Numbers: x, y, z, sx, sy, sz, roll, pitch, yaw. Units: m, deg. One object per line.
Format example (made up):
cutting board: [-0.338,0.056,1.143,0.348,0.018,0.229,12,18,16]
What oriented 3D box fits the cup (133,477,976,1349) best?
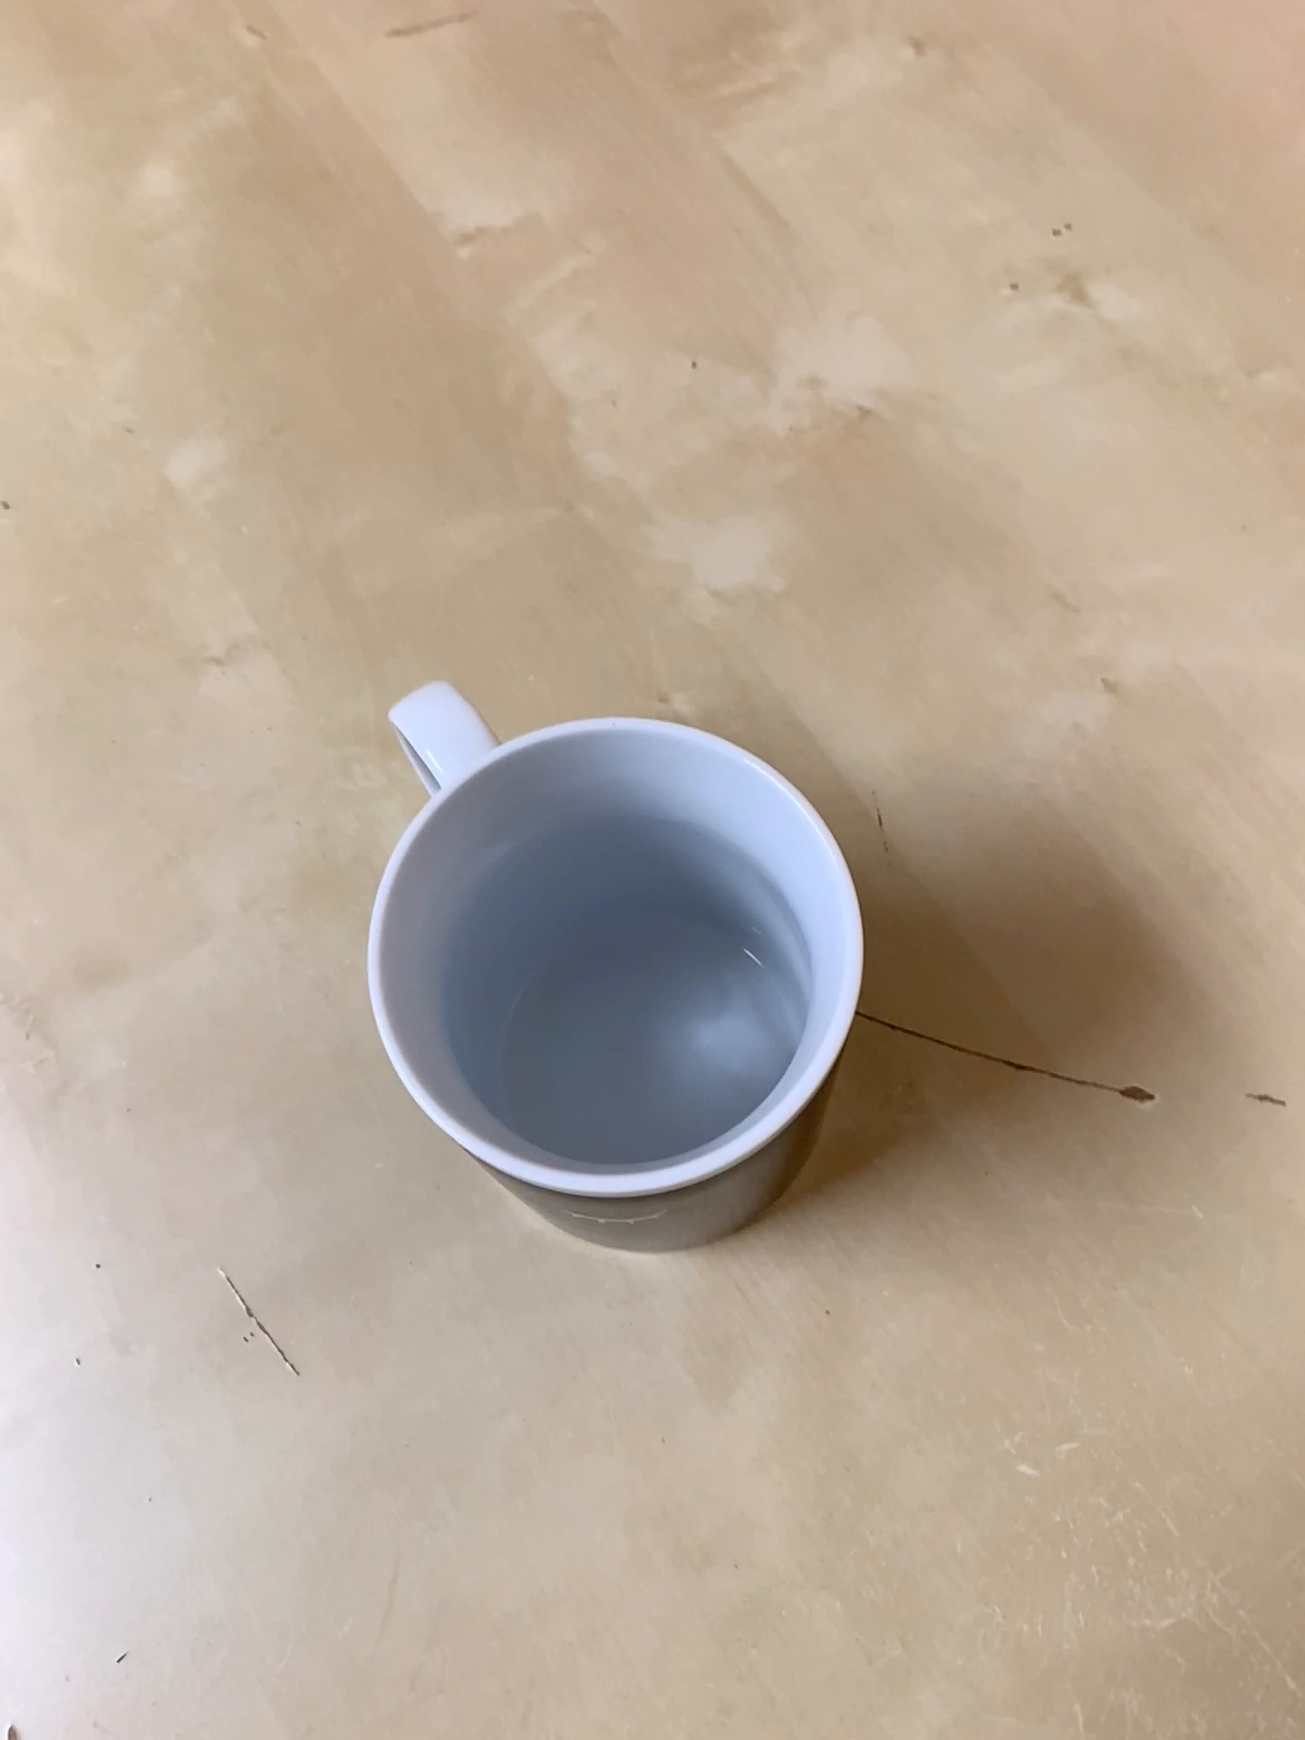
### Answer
cup: [-0.017,0.015,0.266,0.083,0.101,0.122,-35,71,-10]
